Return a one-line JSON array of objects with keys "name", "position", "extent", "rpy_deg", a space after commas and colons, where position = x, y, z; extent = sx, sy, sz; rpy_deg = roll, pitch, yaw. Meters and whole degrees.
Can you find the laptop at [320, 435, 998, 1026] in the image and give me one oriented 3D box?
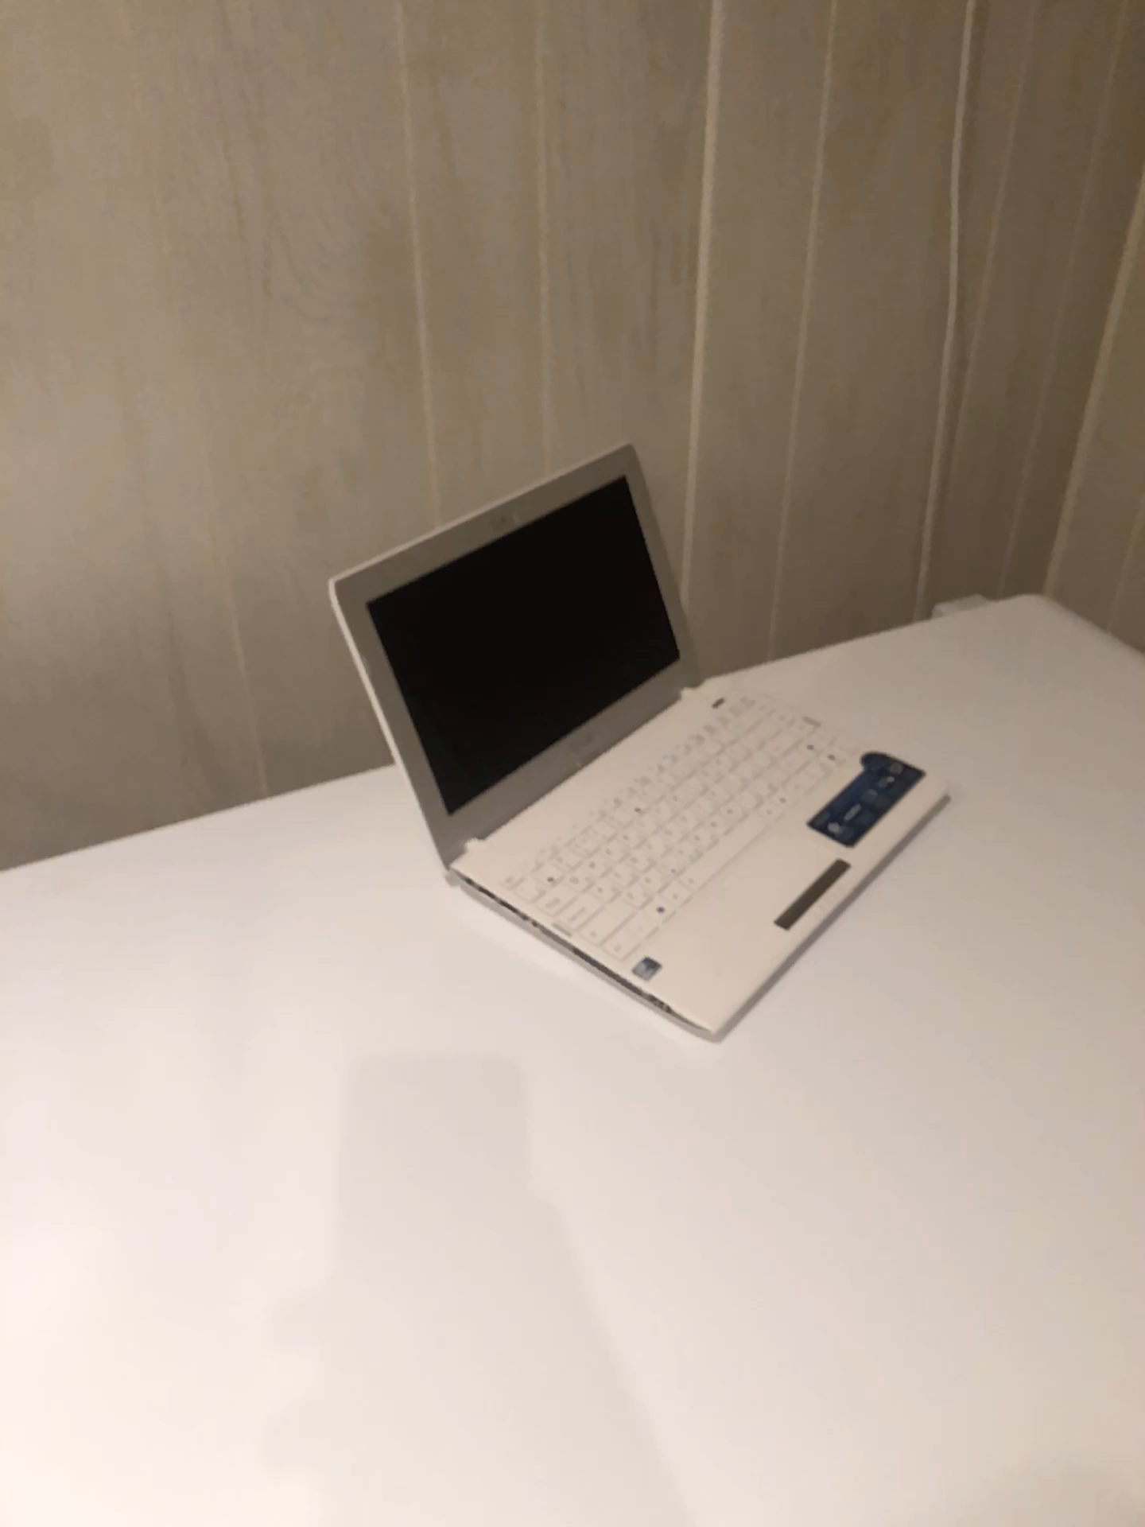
[{"name": "laptop", "position": [0.057, -0.047, 0.814], "extent": [0.292, 0.168, 0.289], "rpy_deg": [27, 43, 30]}]
